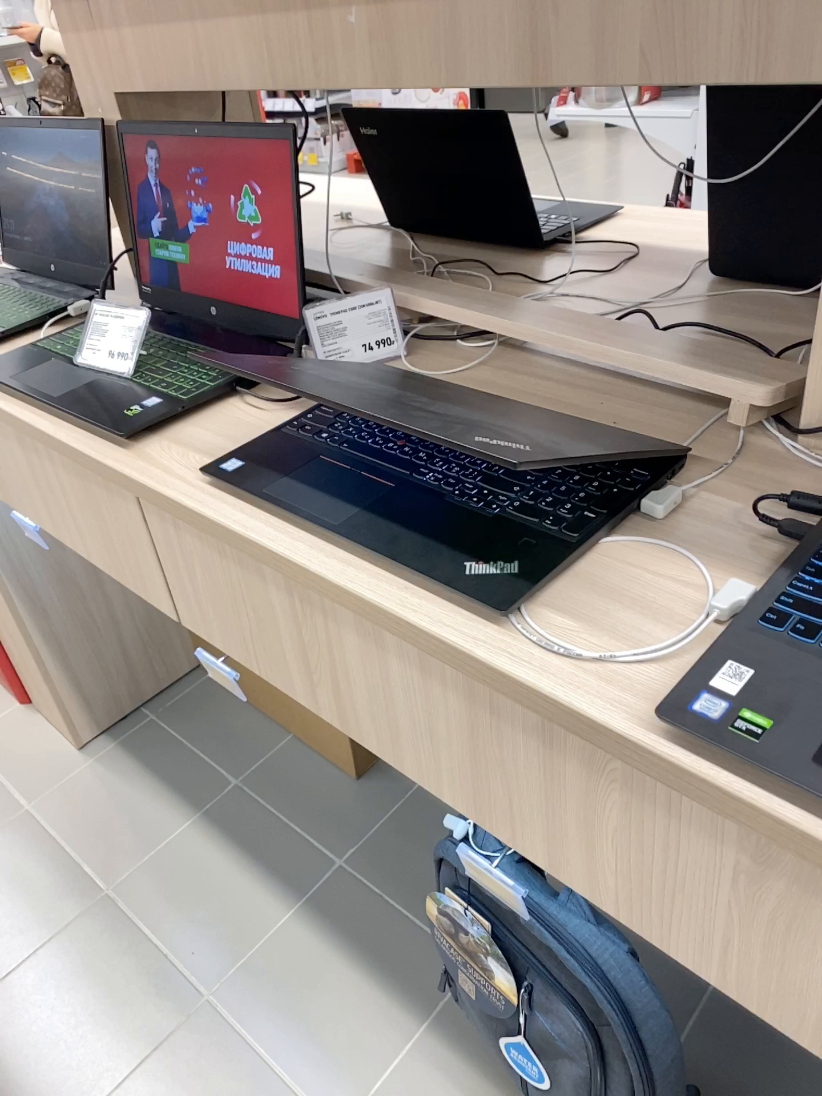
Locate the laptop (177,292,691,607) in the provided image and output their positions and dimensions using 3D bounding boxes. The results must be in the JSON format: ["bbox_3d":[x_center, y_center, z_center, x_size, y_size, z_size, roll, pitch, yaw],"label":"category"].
[{"bbox_3d":[0.008,-0.115,0.722,0.370,0.093,0.240,24,46,39],"label":"laptop"}]
